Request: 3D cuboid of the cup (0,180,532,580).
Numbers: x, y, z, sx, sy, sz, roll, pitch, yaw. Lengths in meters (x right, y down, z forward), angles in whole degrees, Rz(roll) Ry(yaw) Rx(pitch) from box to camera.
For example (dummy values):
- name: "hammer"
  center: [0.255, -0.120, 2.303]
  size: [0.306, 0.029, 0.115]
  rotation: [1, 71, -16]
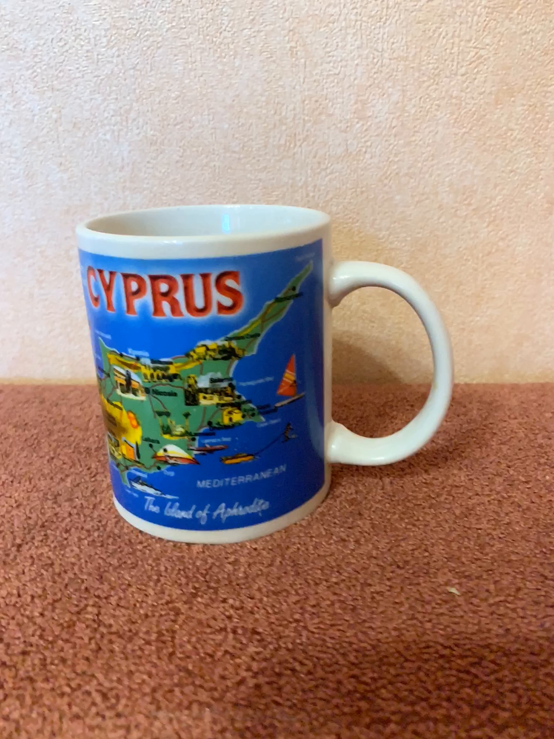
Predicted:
- name: "cup"
  center: [0.002, -0.005, 0.183]
  size: [0.118, 0.091, 0.085]
  rotation: [1, 23, 10]
